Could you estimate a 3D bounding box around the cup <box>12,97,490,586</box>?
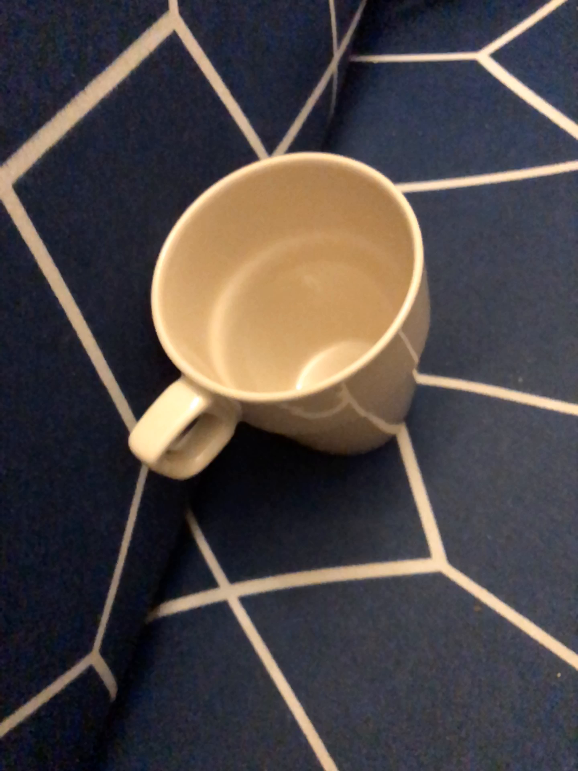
[{"bbox_3d":[-0.001,-0.007,0.228,0.090,0.110,0.104,38,84,28],"label":"cup"}]
